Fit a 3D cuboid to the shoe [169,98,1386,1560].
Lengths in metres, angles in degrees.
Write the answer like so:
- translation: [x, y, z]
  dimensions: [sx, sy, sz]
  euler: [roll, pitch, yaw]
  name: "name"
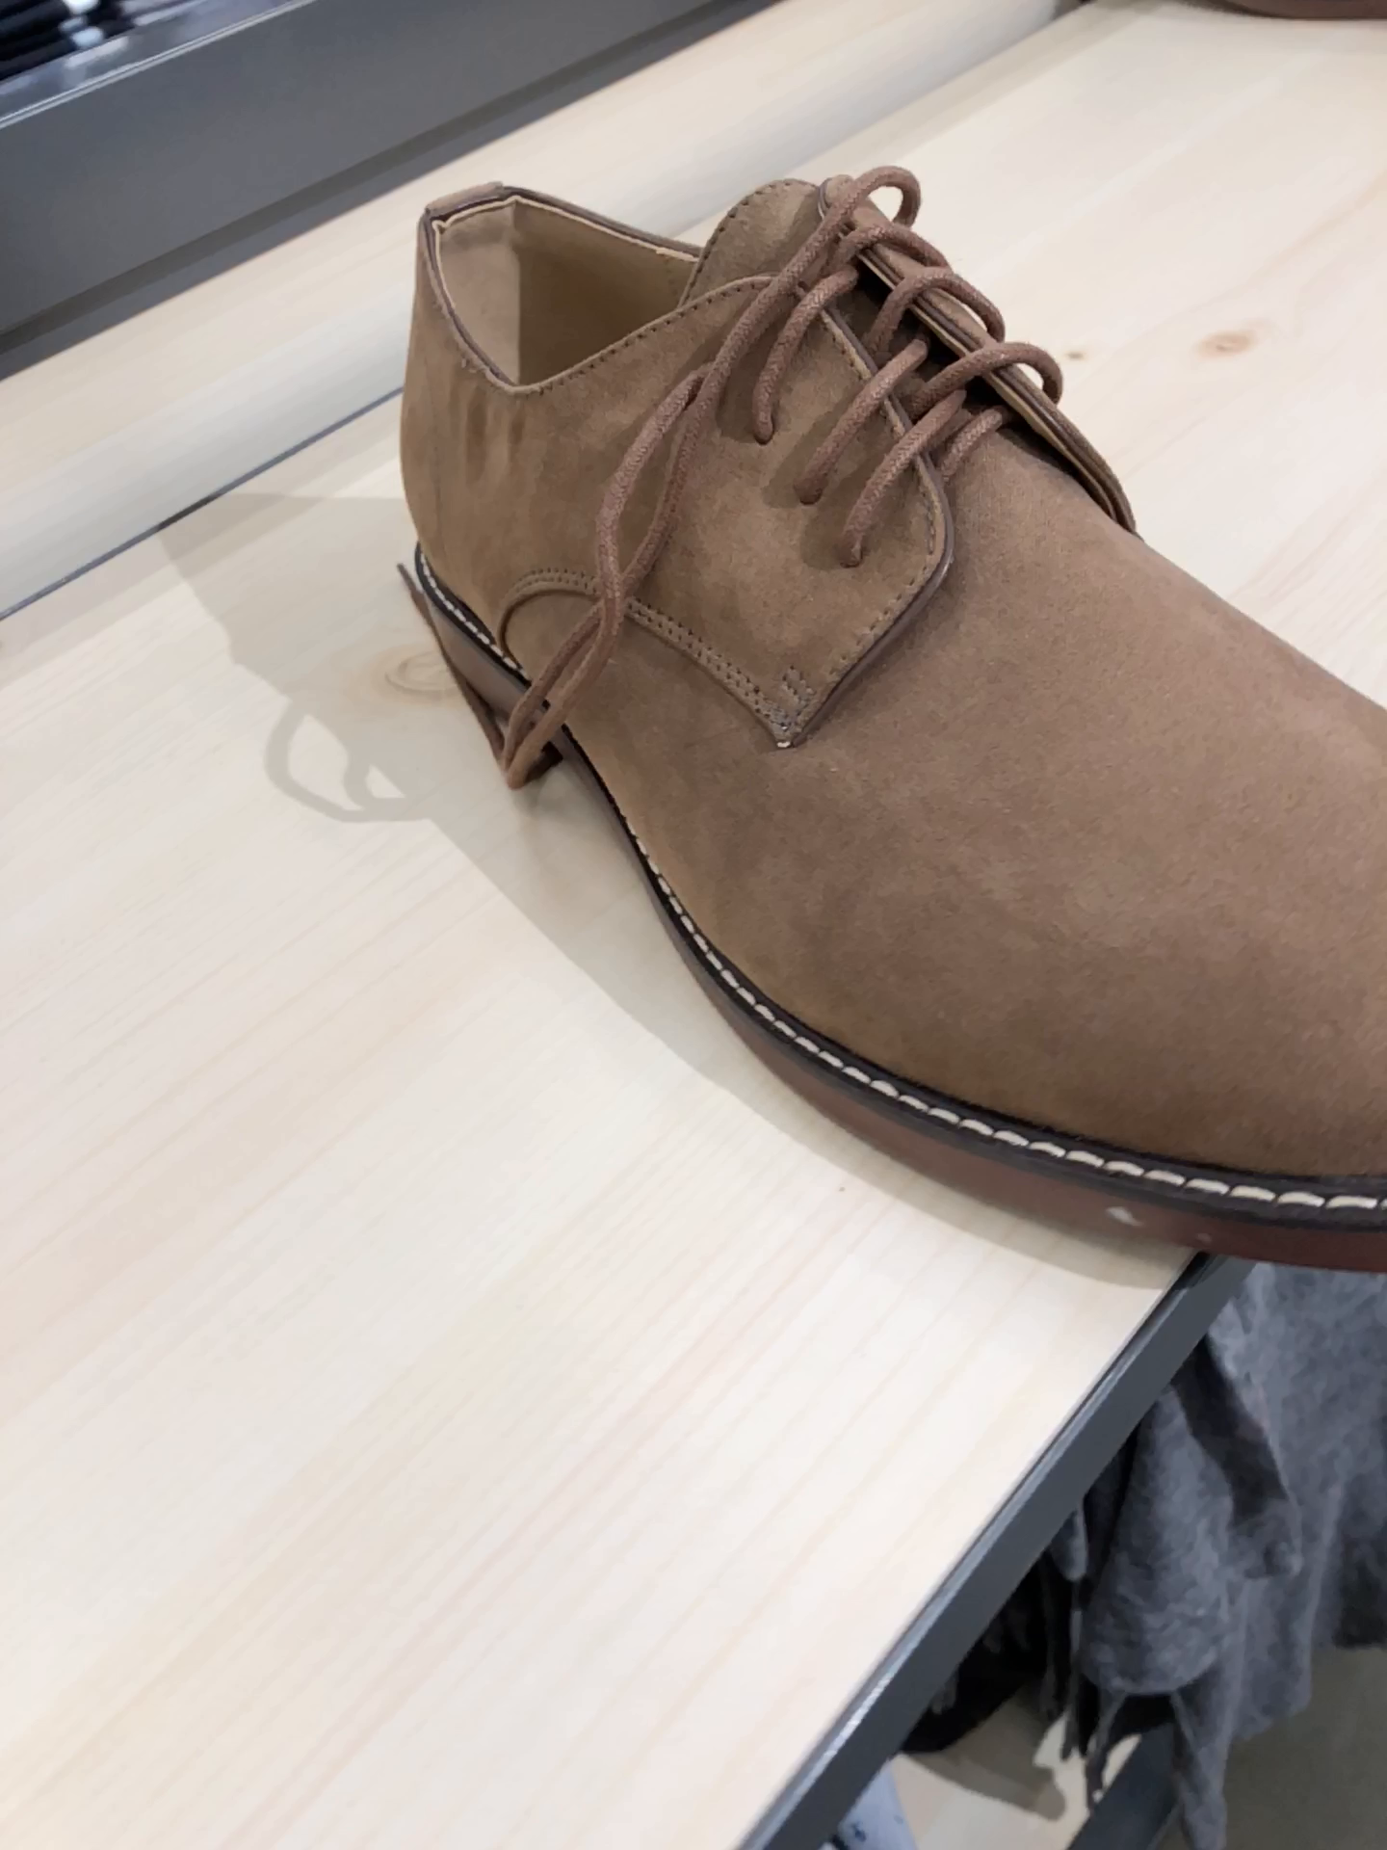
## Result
- translation: [0.020, -0.057, 0.297]
  dimensions: [0.120, 0.110, 0.301]
  euler: [-29, 45, -16]
  name: "shoe"
